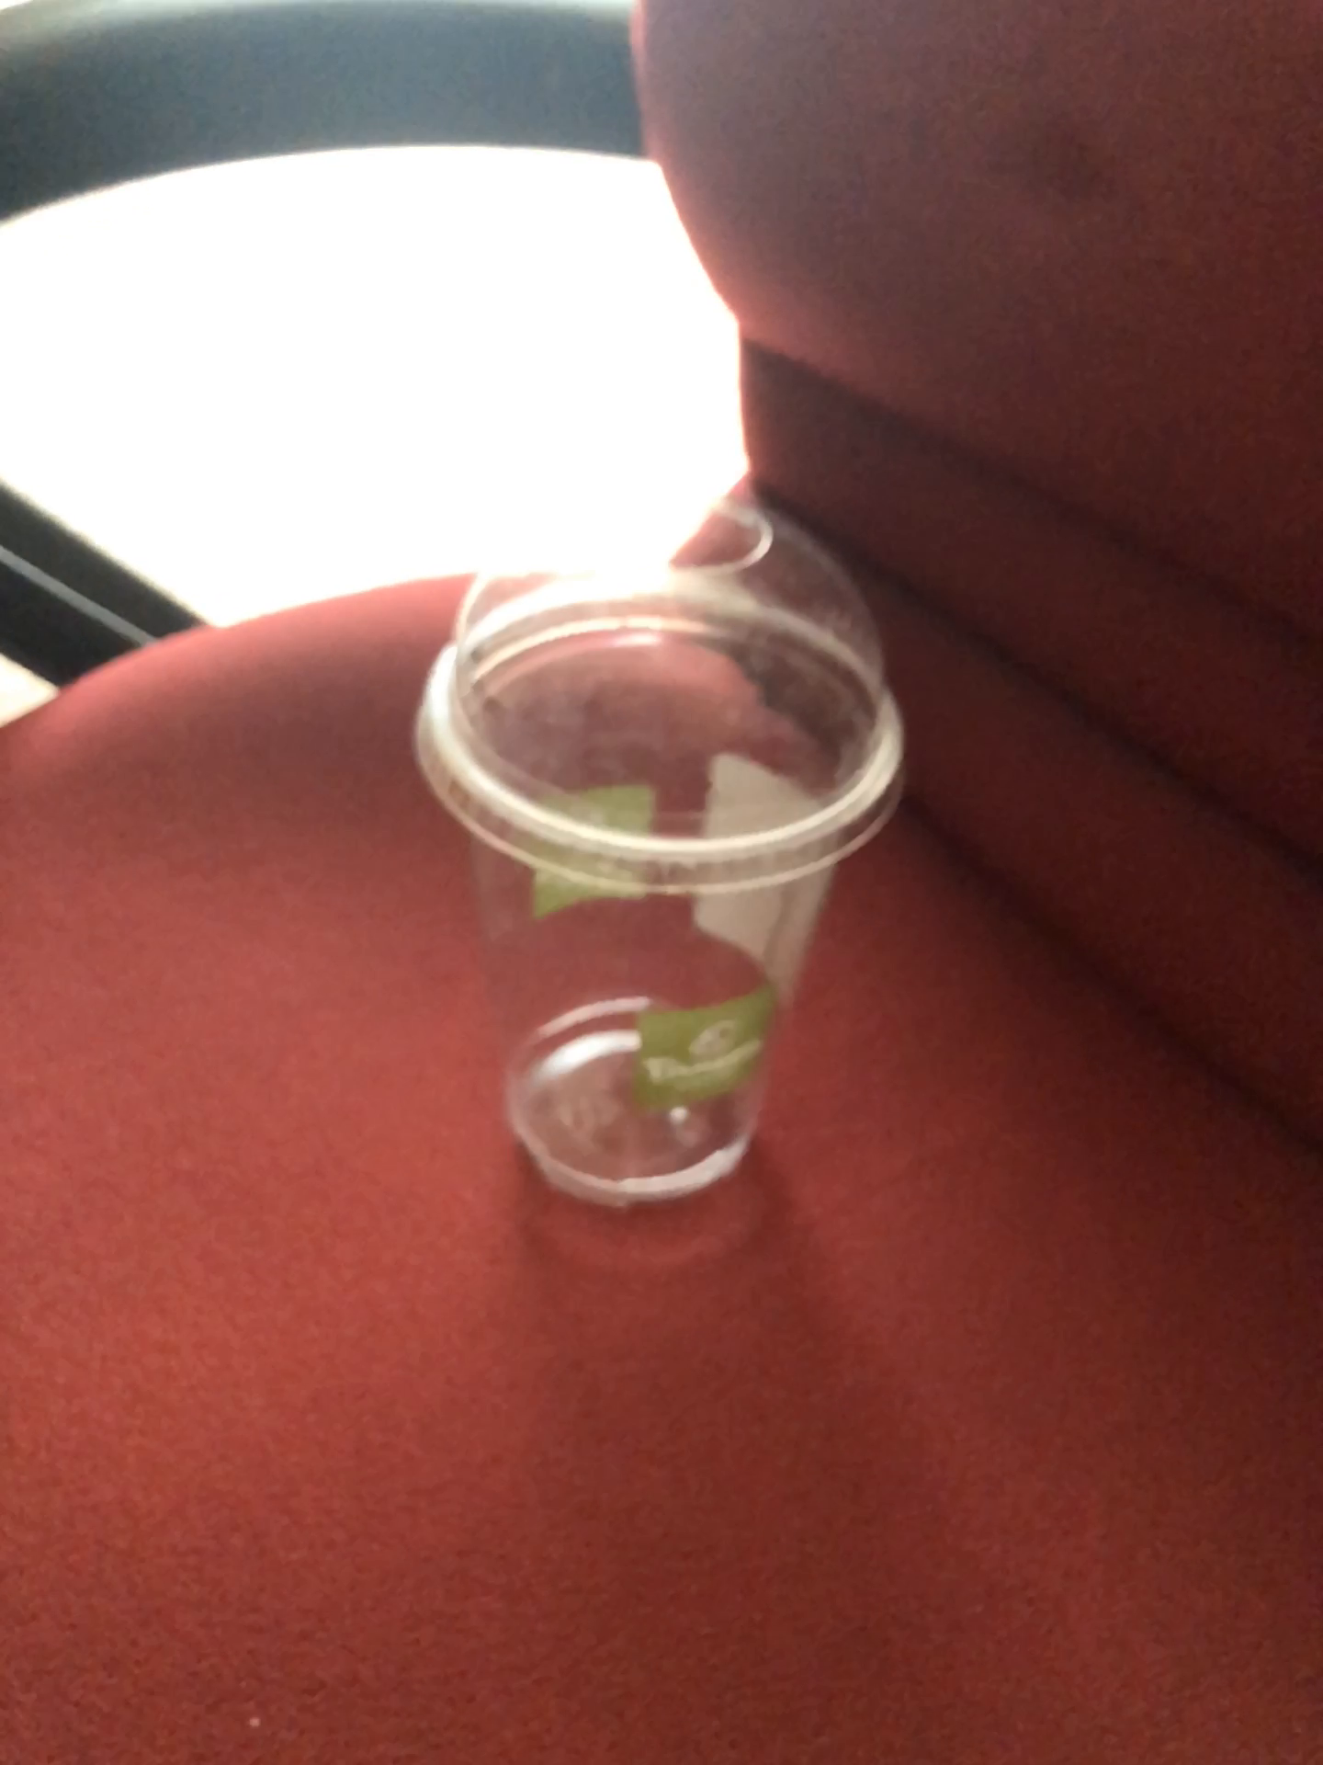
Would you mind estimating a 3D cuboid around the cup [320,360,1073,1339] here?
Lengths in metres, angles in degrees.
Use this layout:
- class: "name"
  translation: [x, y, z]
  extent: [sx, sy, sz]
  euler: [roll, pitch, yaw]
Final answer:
- class: "cup"
  translation: [-0.003, -0.008, 0.302]
  extent: [0.090, 0.150, 0.100]
  euler: [-17, 44, -26]
